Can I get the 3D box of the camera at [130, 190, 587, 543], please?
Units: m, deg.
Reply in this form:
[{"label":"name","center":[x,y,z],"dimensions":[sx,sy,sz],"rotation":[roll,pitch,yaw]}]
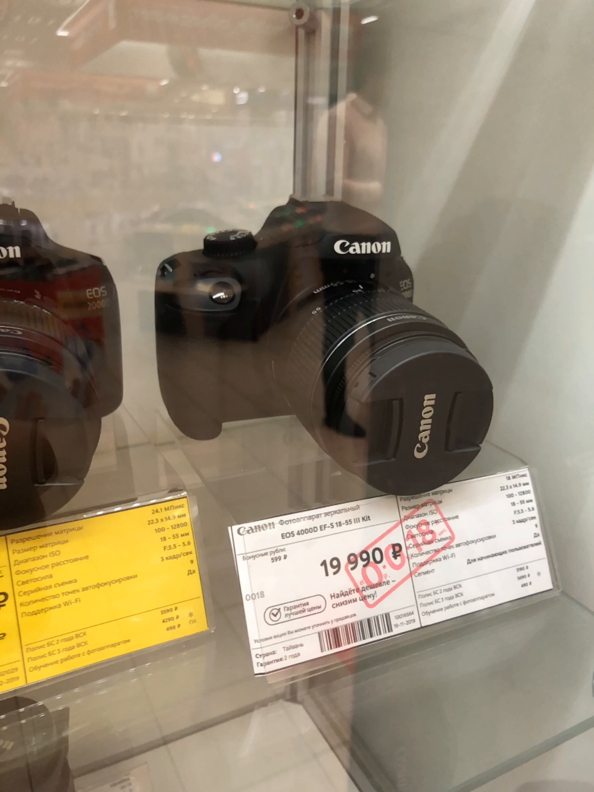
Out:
[{"label":"camera","center":[0.011,-0.031,0.280],"dimensions":[0.125,0.100,0.147],"rotation":[-8,21,-24]}]
